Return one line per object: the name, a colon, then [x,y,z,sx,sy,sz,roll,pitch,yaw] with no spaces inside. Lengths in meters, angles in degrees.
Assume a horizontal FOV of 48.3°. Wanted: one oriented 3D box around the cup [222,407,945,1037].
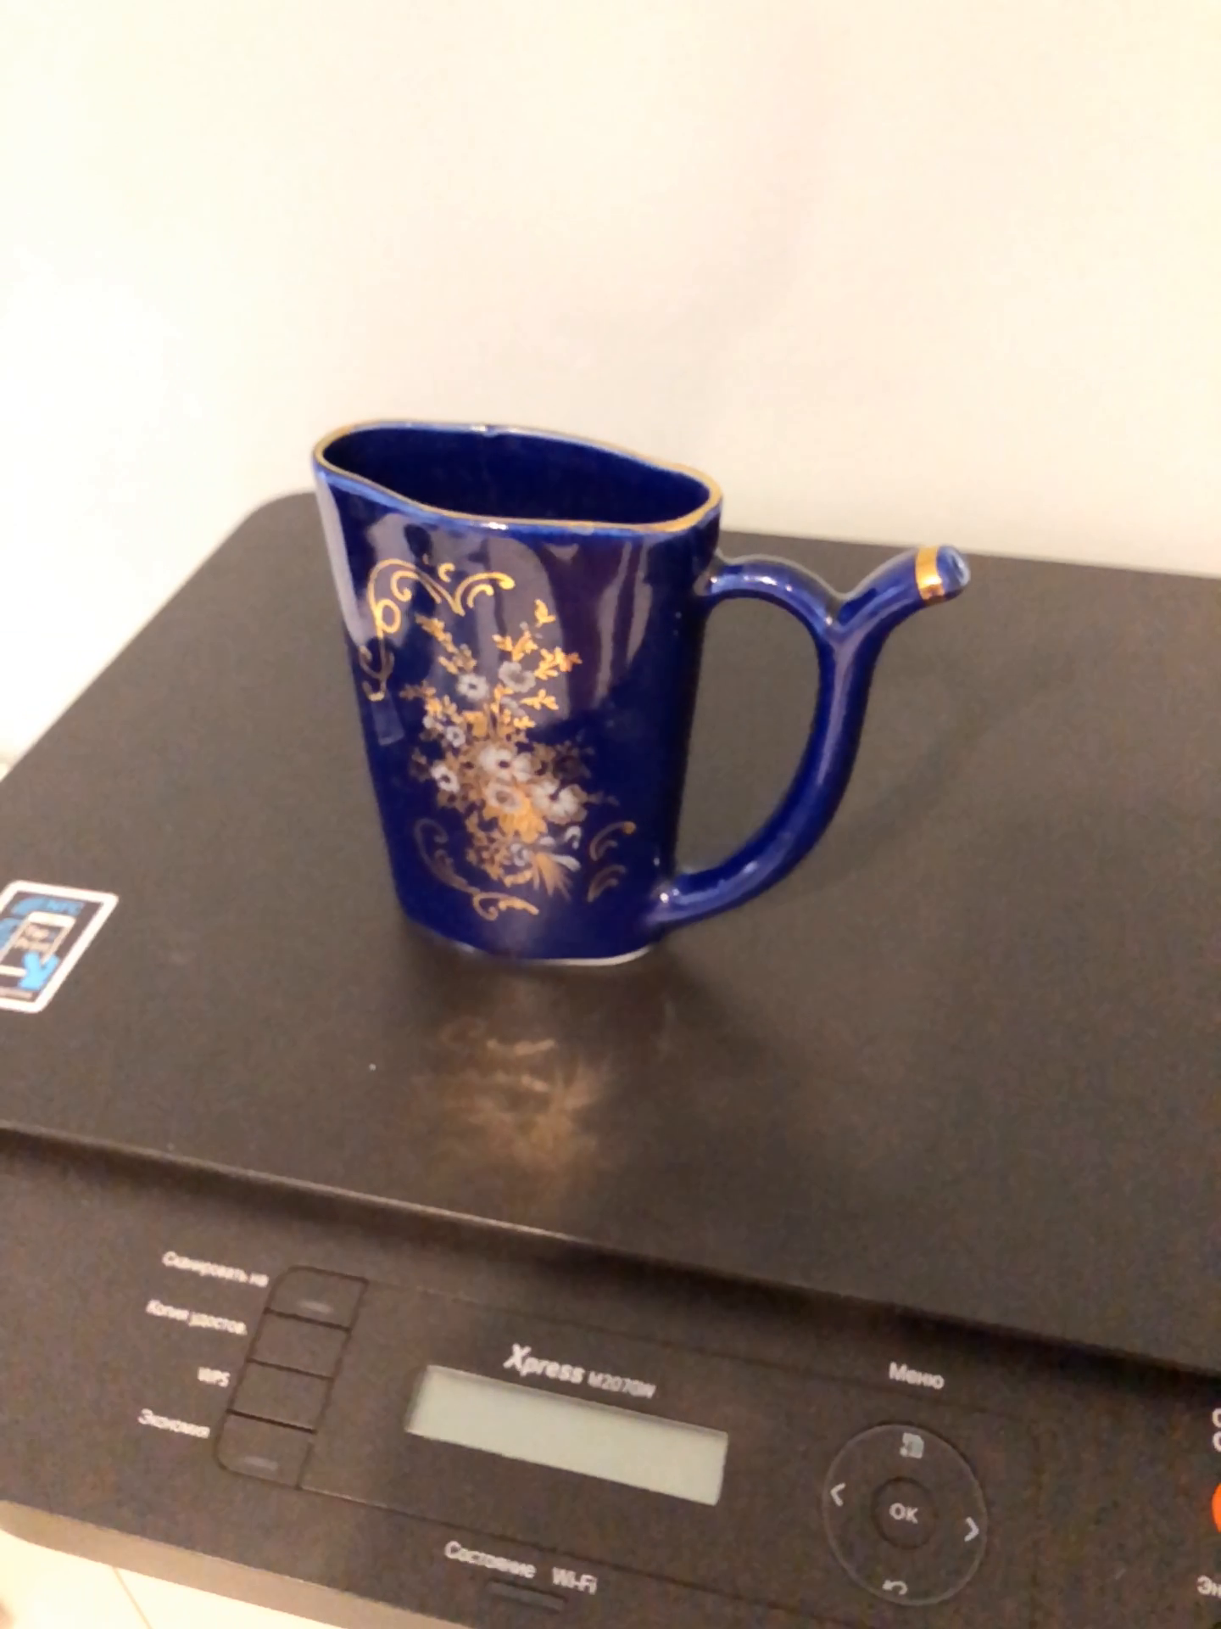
cup: [-0.003,-0.020,0.297,0.130,0.109,0.050,10,41,12]
